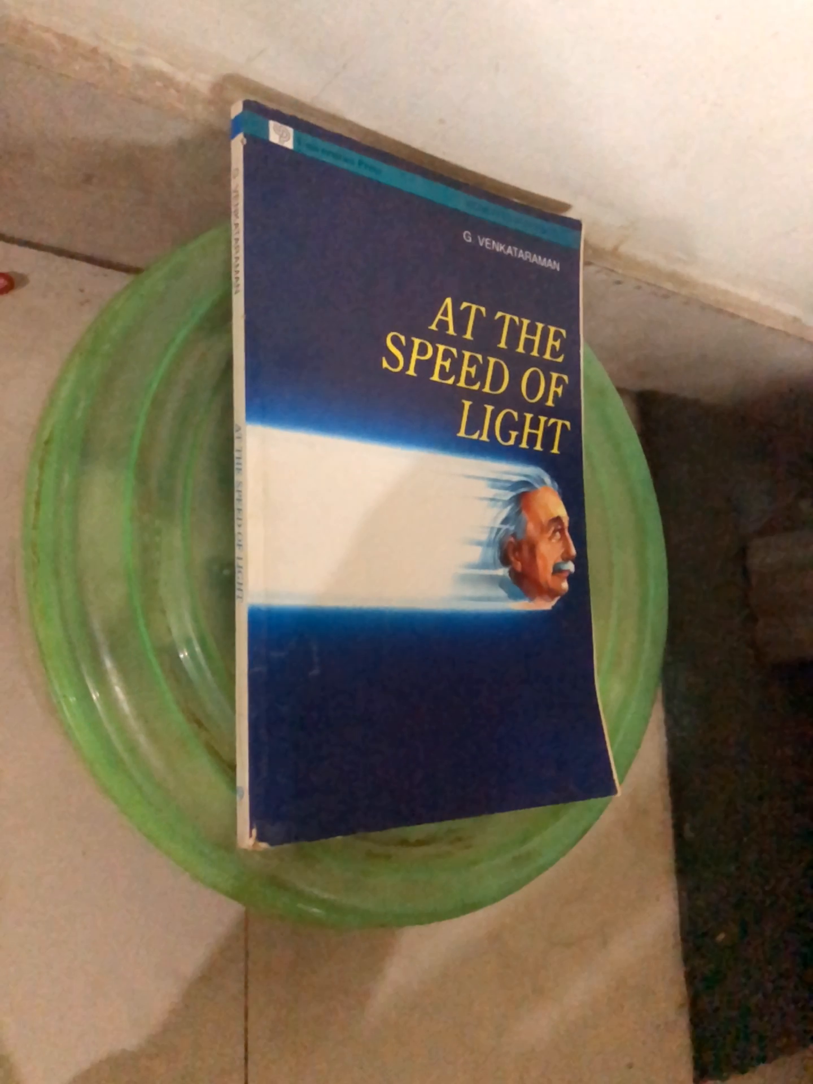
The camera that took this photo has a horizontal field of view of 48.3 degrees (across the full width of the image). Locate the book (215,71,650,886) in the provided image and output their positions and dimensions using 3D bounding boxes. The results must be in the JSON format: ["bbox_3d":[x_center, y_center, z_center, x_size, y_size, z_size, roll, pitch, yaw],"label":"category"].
[{"bbox_3d":[0.012,-0.020,0.300,0.151,0.020,0.230,4,77,-36],"label":"book"}]
